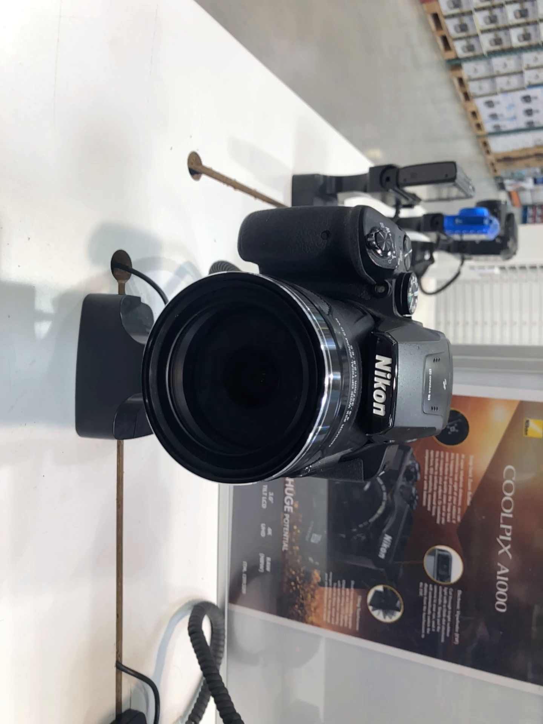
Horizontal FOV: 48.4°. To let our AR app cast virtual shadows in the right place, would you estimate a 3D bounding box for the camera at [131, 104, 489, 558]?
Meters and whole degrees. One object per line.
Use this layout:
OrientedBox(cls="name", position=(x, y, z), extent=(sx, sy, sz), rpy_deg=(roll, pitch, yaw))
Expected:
OrientedBox(cls="camera", position=(0.031, -0.011, 0.277), extent=(0.151, 0.109, 0.140), rpy_deg=(2, 91, -65))
